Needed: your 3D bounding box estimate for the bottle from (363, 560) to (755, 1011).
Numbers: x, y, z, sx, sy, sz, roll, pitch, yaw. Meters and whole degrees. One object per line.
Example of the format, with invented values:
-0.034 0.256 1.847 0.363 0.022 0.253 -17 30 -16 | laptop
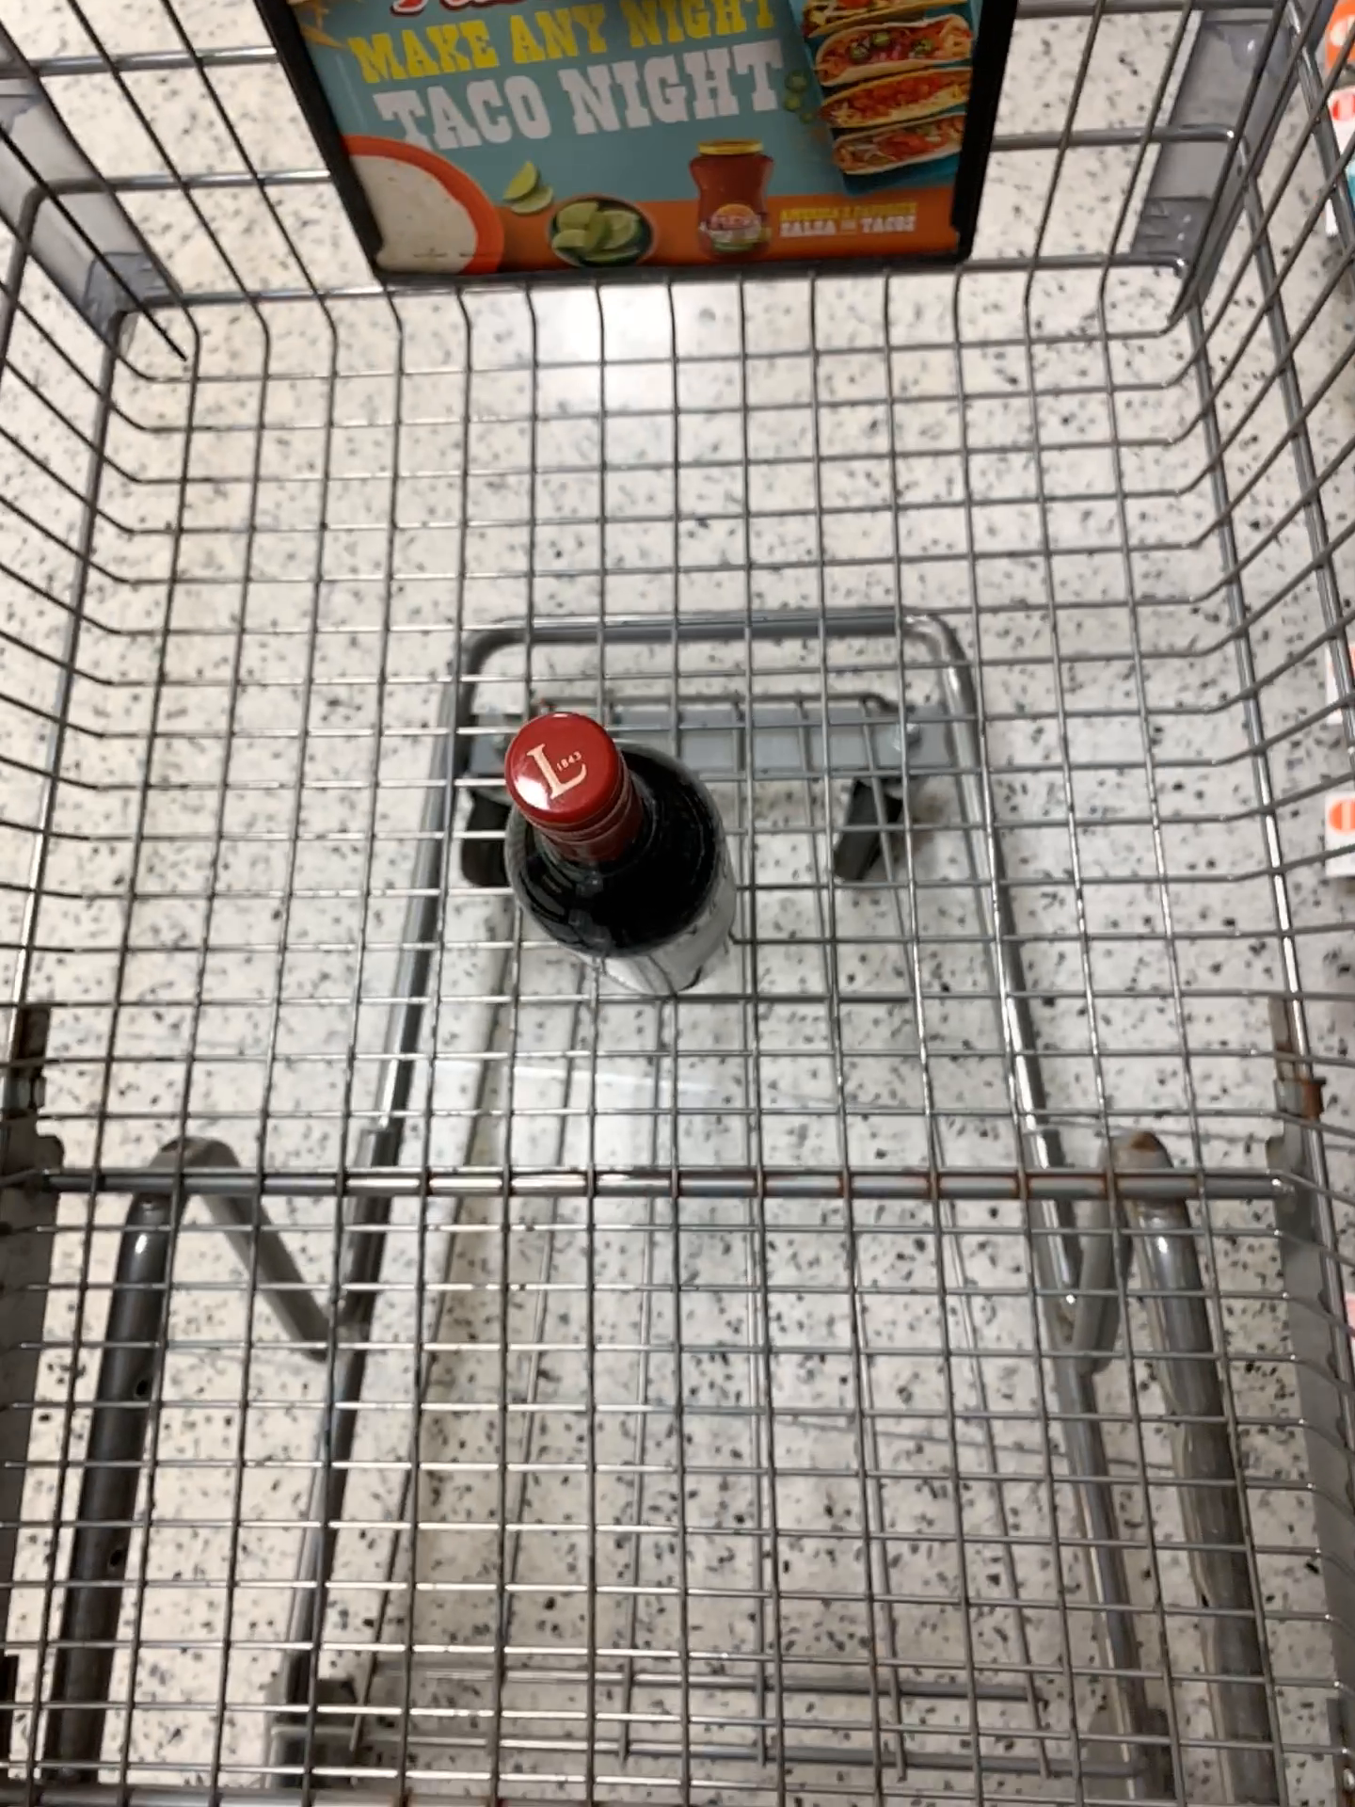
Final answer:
-0.022 -0.021 0.502 0.080 0.289 0.090 4 82 6 | bottle
